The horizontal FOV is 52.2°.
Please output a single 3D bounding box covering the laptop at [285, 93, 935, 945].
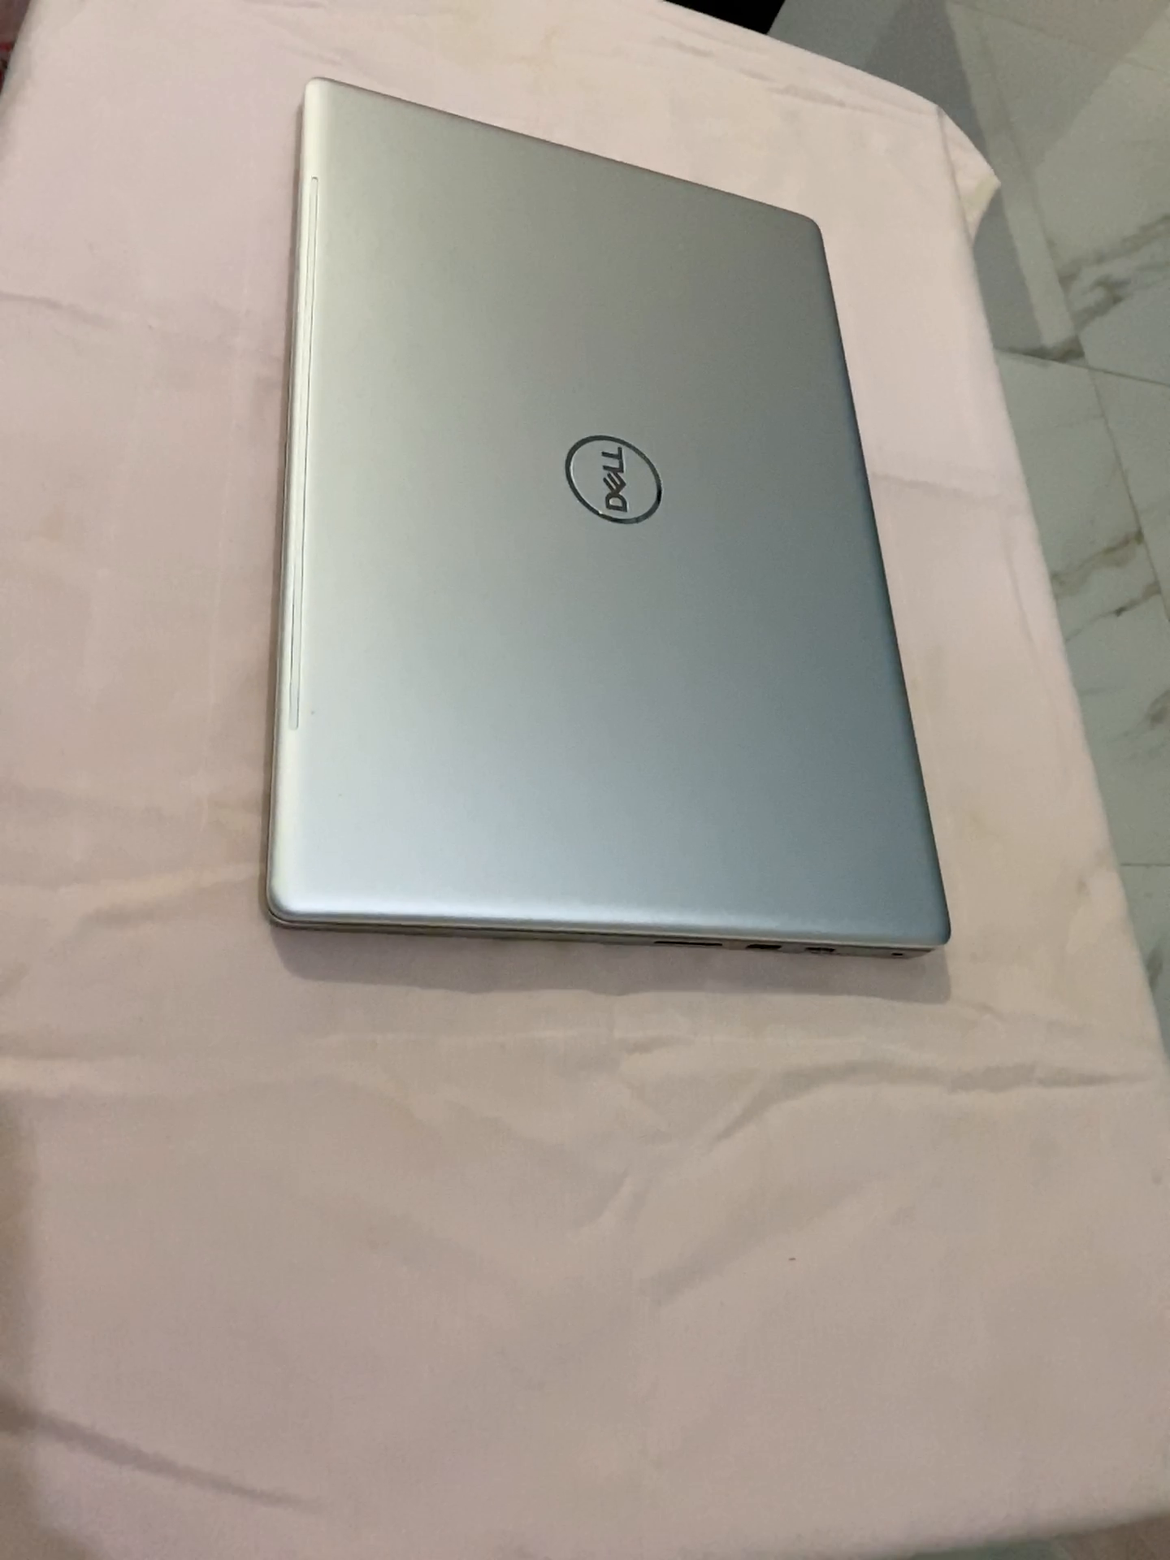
[{"bbox_3d":[0.006,-0.114,0.477,0.236,0.004,0.359,5,66,-20],"label":"laptop"}]
